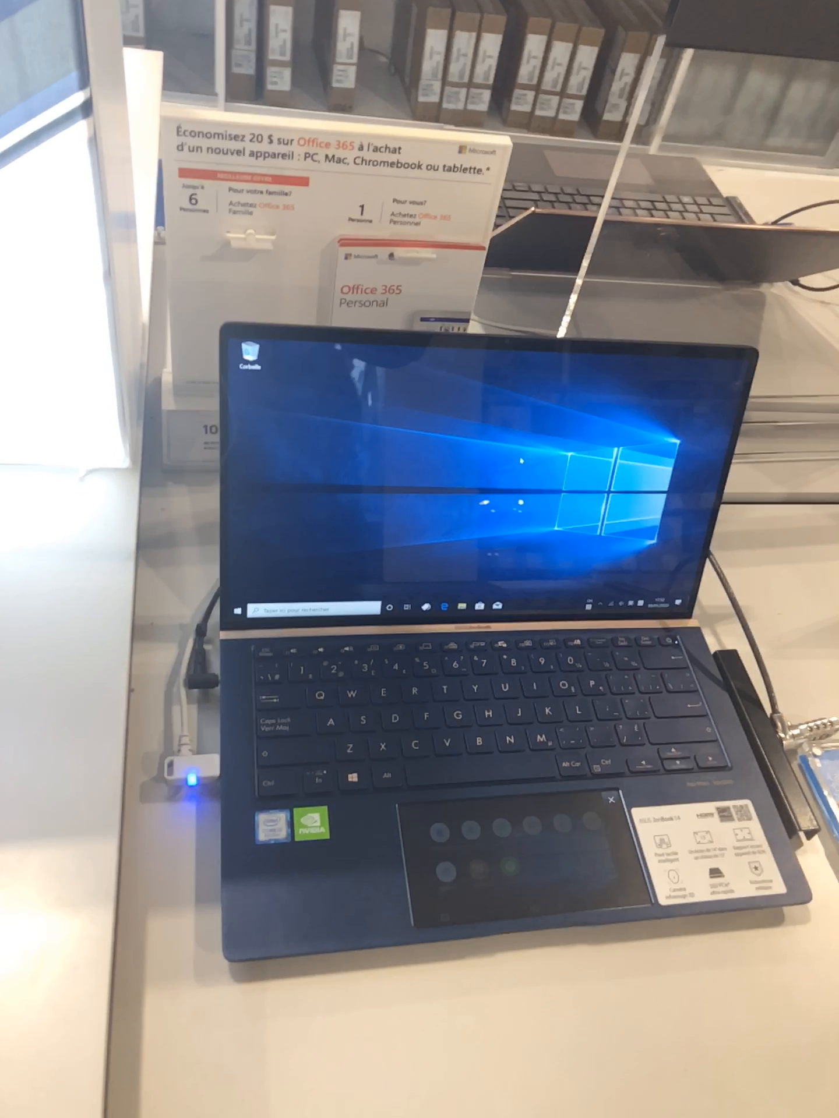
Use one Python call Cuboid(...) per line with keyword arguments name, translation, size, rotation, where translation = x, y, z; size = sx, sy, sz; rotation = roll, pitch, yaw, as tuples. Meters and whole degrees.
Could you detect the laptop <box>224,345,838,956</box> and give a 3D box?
Cuboid(name="laptop", translation=(0.057, 0.038, 0.489), size=(0.309, 0.179, 0.254), rotation=(0, 47, -13))
